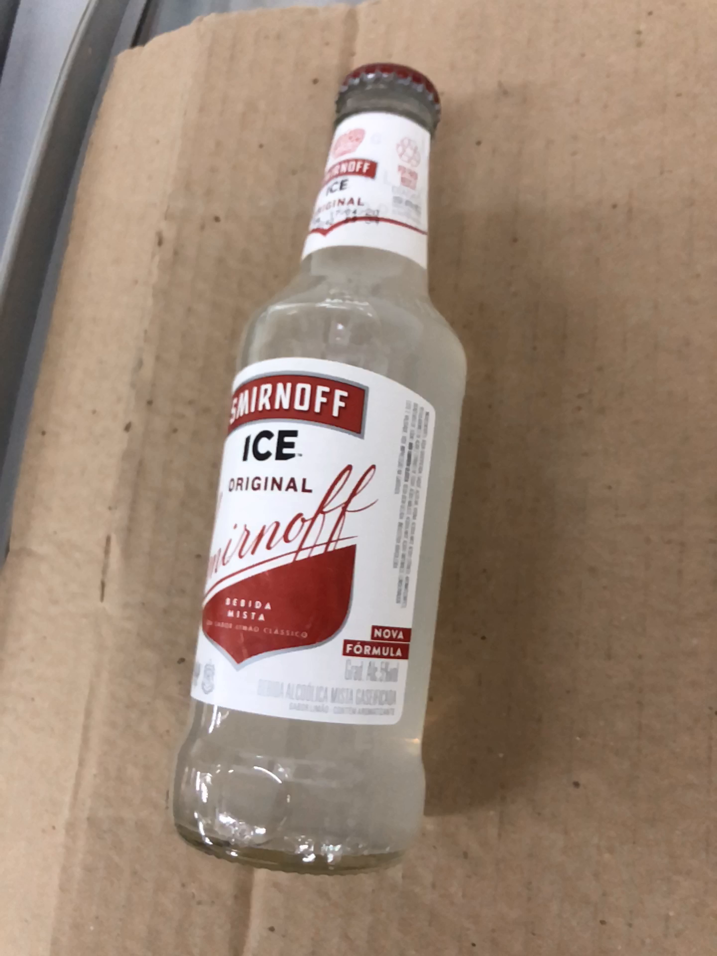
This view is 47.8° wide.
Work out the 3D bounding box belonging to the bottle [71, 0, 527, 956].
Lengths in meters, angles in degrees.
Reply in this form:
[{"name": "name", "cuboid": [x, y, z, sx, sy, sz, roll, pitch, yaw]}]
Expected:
[{"name": "bottle", "cuboid": [-0.007, -0.014, 0.193, 0.070, 0.050, 0.210, 3, 80, 22]}]
